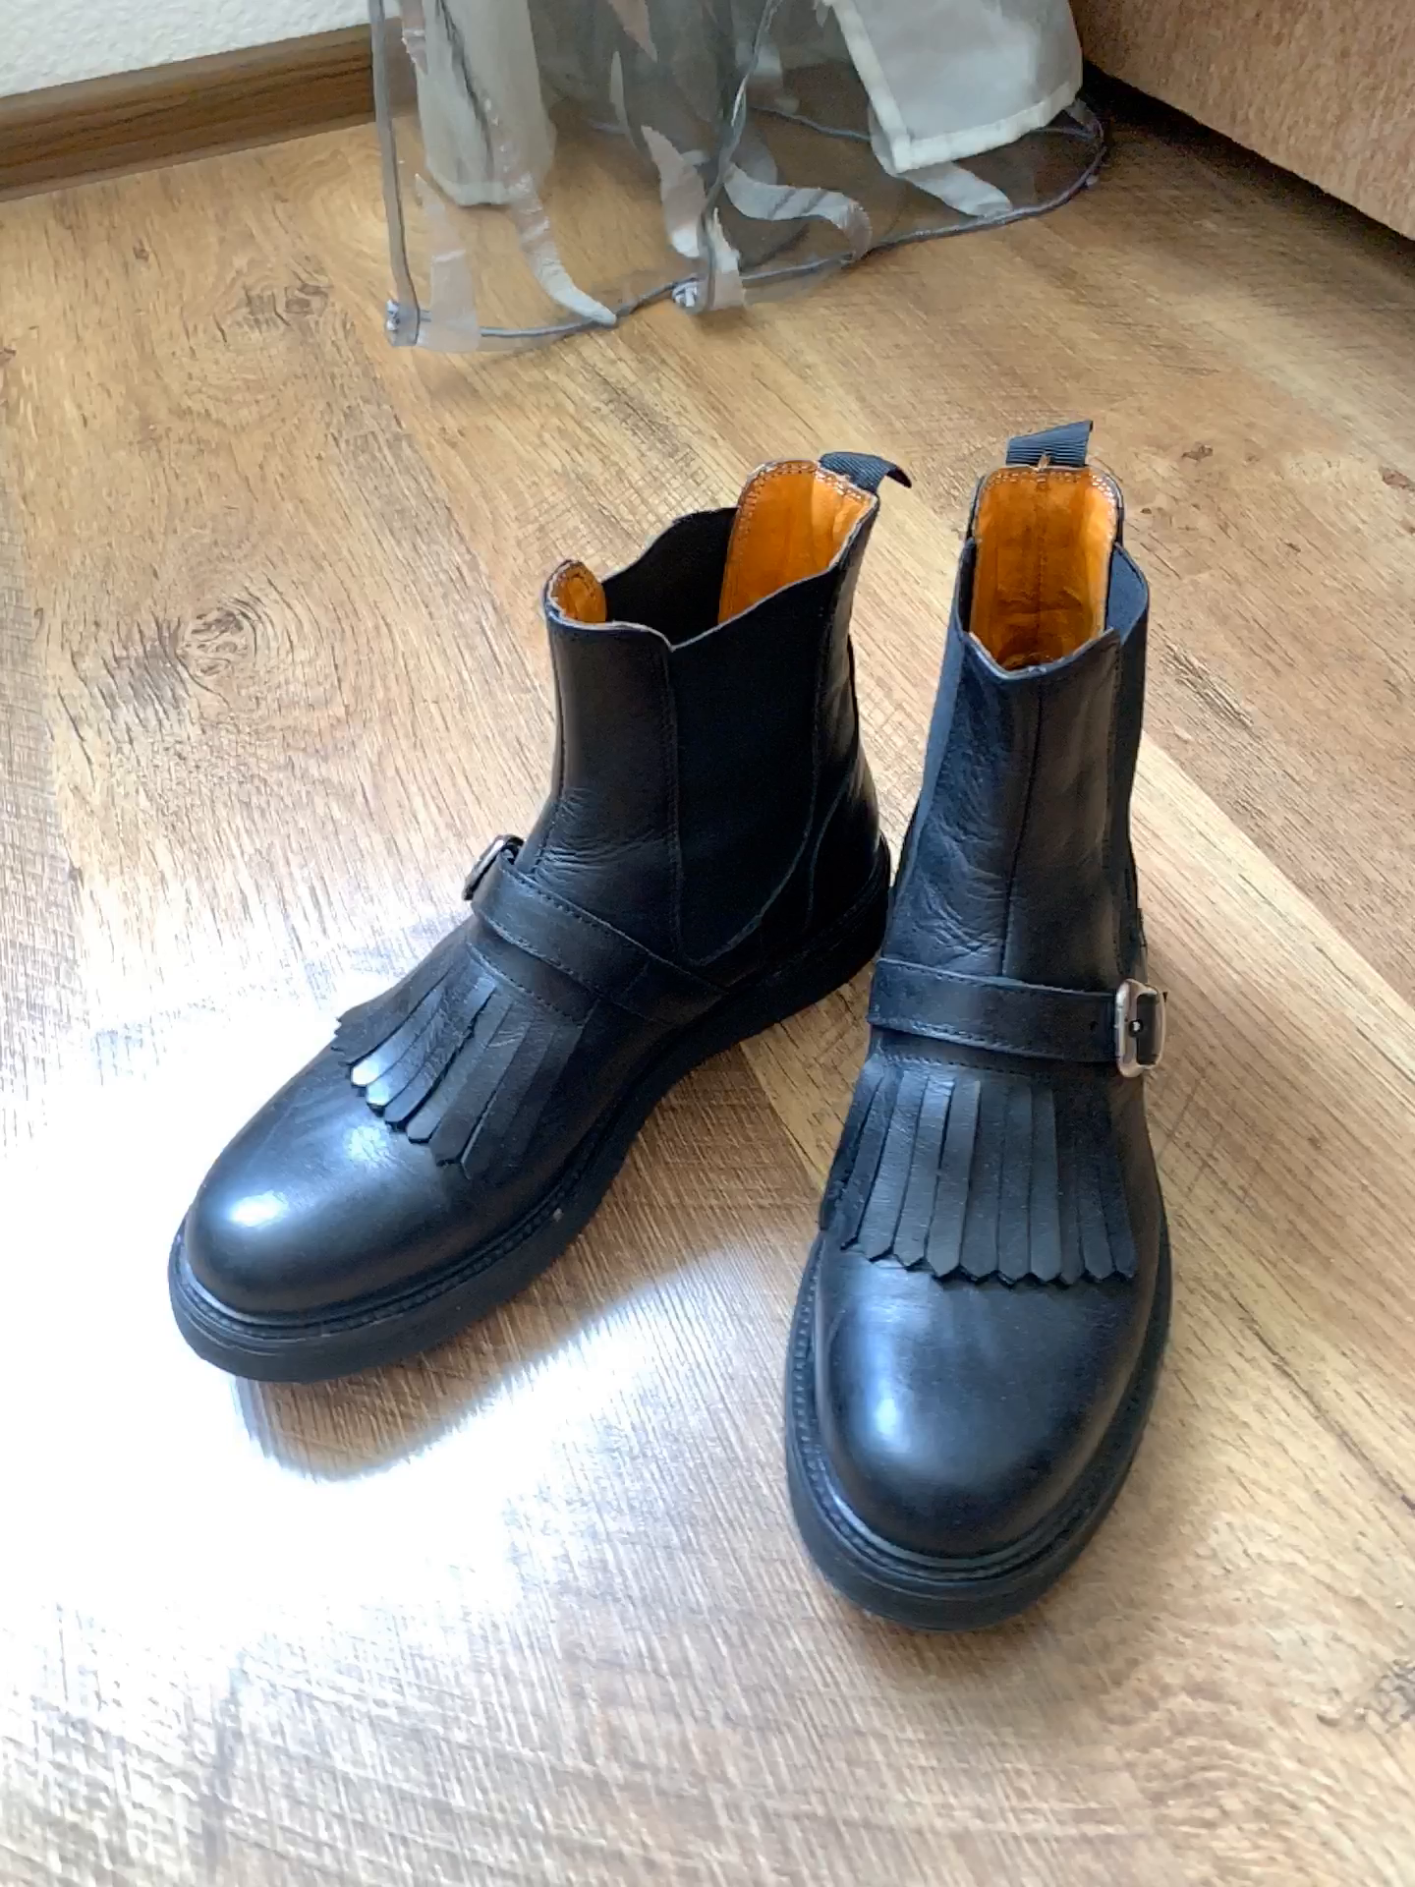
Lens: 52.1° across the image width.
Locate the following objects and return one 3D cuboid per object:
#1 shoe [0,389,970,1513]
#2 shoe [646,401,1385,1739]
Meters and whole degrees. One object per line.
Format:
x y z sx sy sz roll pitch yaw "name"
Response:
-0.051 -0.007 0.379 0.090 0.151 0.260 33 59 29 "shoe"
0.075 0.012 0.337 0.100 0.149 0.261 8 50 12 "shoe"
